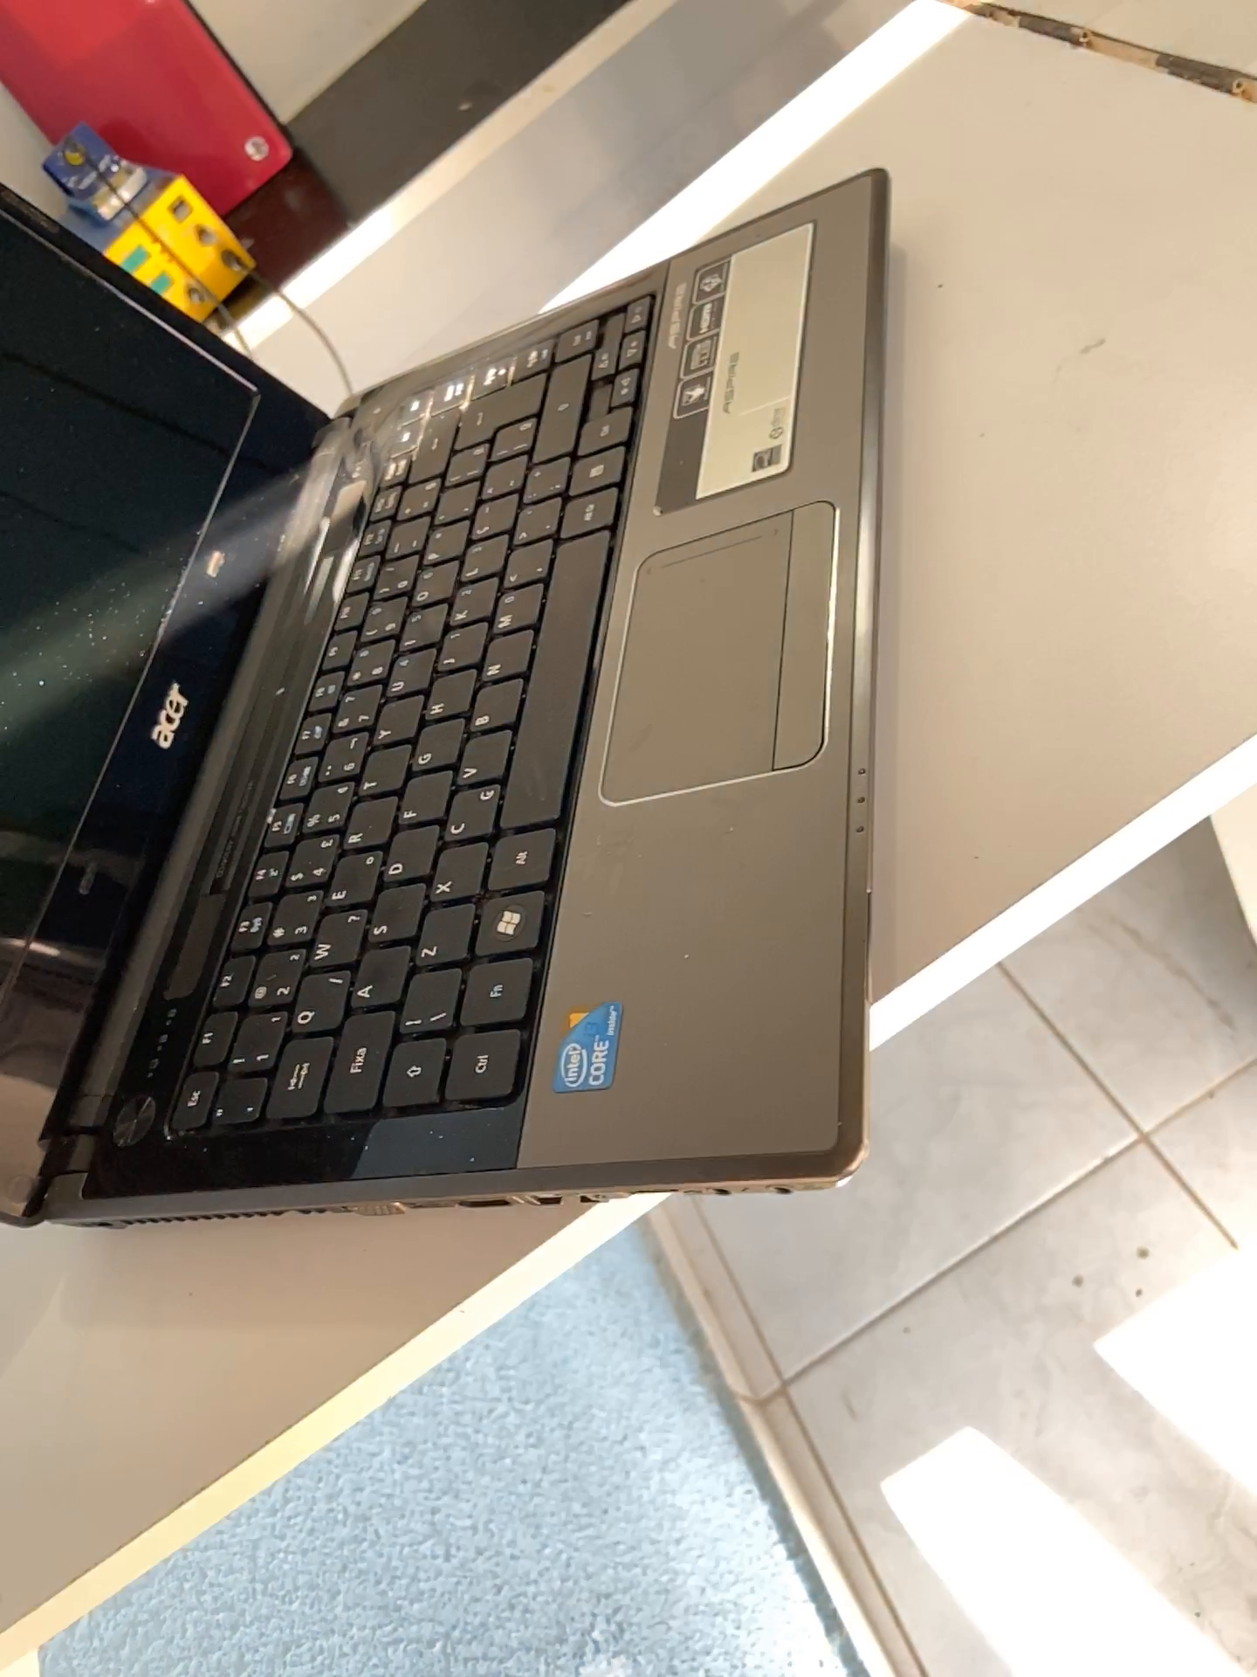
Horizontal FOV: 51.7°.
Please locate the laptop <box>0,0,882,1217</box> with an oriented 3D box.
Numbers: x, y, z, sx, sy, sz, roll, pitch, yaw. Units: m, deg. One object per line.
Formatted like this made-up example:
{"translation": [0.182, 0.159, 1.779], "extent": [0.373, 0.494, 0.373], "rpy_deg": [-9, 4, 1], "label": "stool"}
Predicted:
{"translation": [-0.126, -0.106, 0.342], "extent": [0.318, 0.207, 0.338], "rpy_deg": [-12, 53, 28], "label": "laptop"}
